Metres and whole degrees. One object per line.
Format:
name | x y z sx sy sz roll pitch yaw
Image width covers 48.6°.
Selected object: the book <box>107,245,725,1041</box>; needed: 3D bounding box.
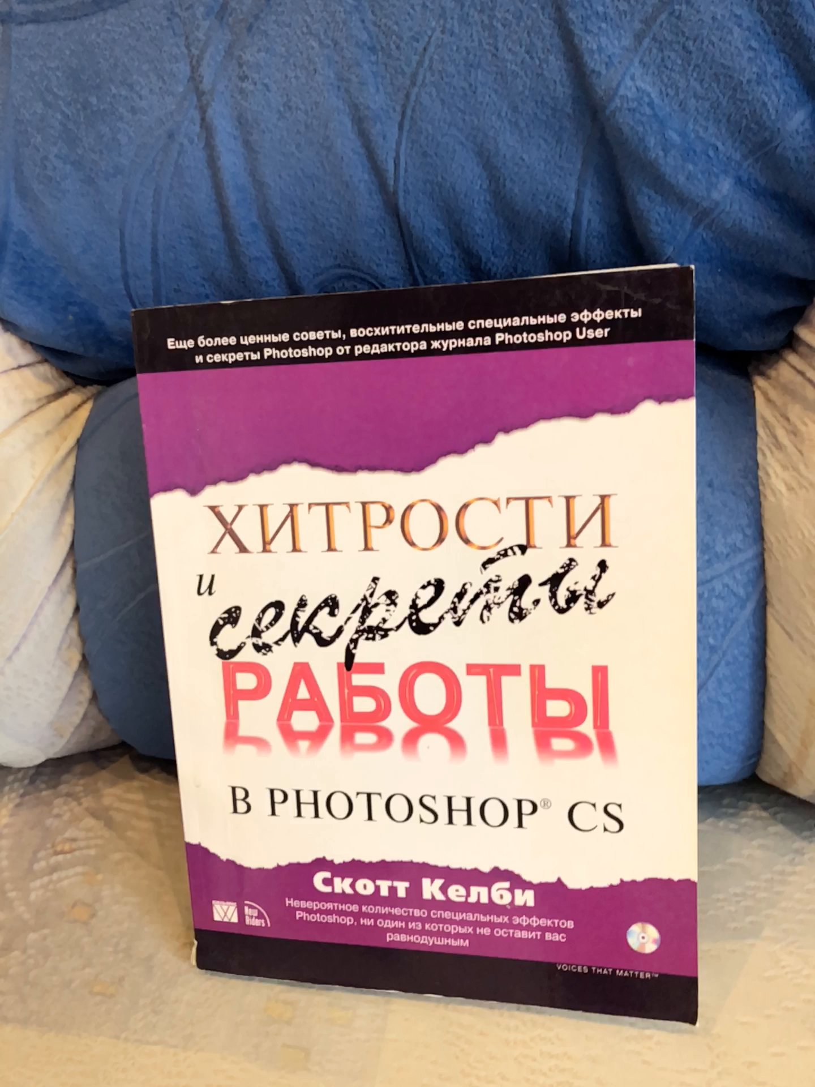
book | 0.006 0.042 0.336 0.209 0.271 0.030 -1 10 14
